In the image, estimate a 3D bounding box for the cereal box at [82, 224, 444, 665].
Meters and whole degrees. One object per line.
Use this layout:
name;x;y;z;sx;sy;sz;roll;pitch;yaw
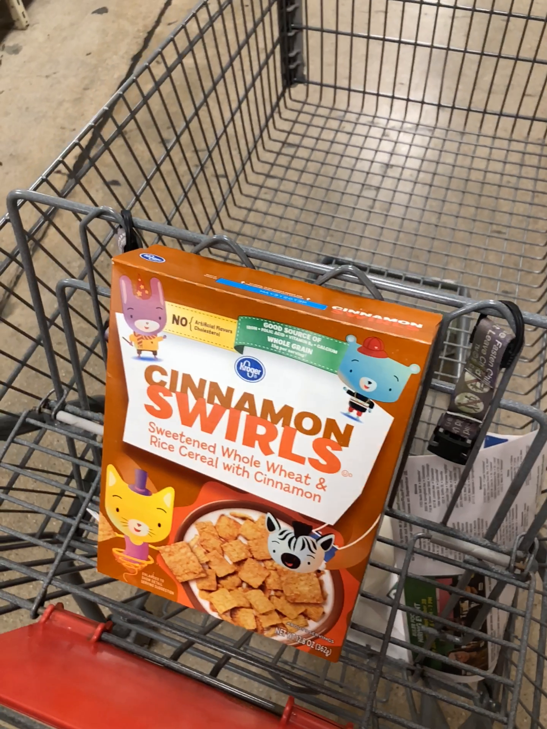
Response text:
cereal box;-0.024;0.057;0.412;0.210;0.260;0.050;14;25;13
